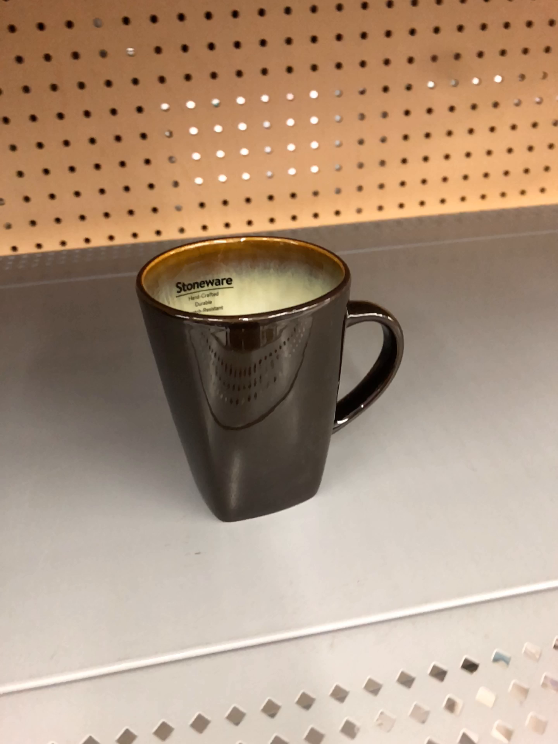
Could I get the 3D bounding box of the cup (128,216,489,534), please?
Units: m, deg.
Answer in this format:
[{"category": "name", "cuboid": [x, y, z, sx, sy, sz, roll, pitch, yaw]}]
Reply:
[{"category": "cup", "cuboid": [0.008, -0.007, 0.303, 0.136, 0.099, 0.095, -11, 32, -18]}]
